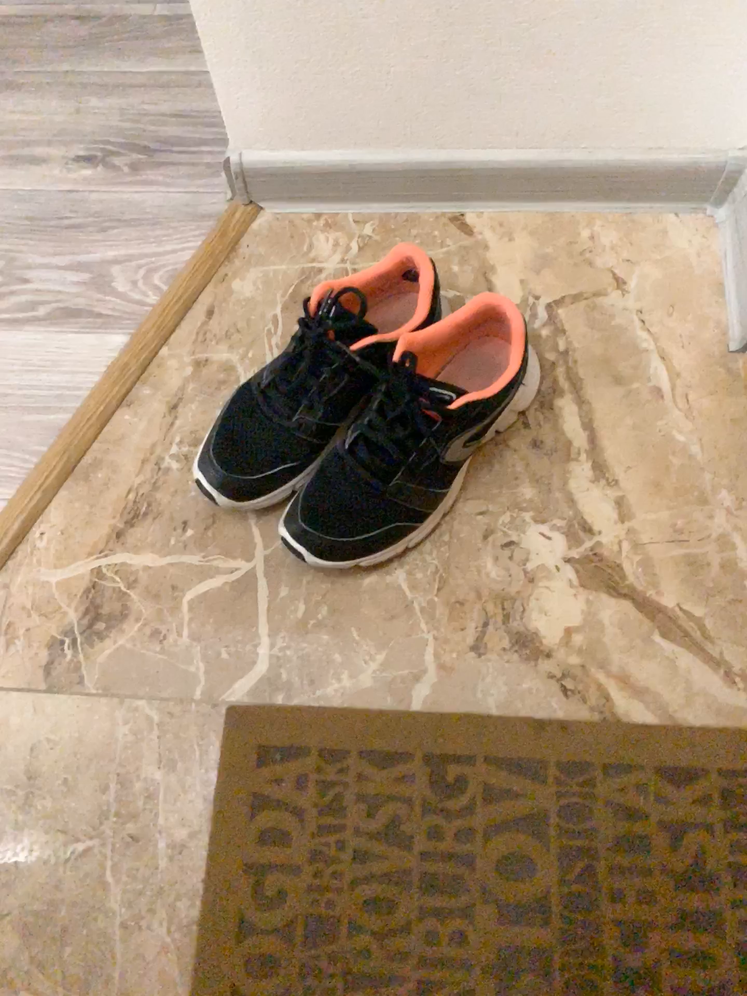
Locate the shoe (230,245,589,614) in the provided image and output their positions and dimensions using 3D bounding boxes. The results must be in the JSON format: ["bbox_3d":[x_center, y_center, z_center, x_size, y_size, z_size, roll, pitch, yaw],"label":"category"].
[{"bbox_3d":[0.030,-0.049,0.554,0.100,0.100,0.244,41,76,18],"label":"shoe"}]

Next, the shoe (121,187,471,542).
[{"bbox_3d":[-0.048,-0.102,0.584,0.100,0.100,0.250,41,76,18],"label":"shoe"}]
